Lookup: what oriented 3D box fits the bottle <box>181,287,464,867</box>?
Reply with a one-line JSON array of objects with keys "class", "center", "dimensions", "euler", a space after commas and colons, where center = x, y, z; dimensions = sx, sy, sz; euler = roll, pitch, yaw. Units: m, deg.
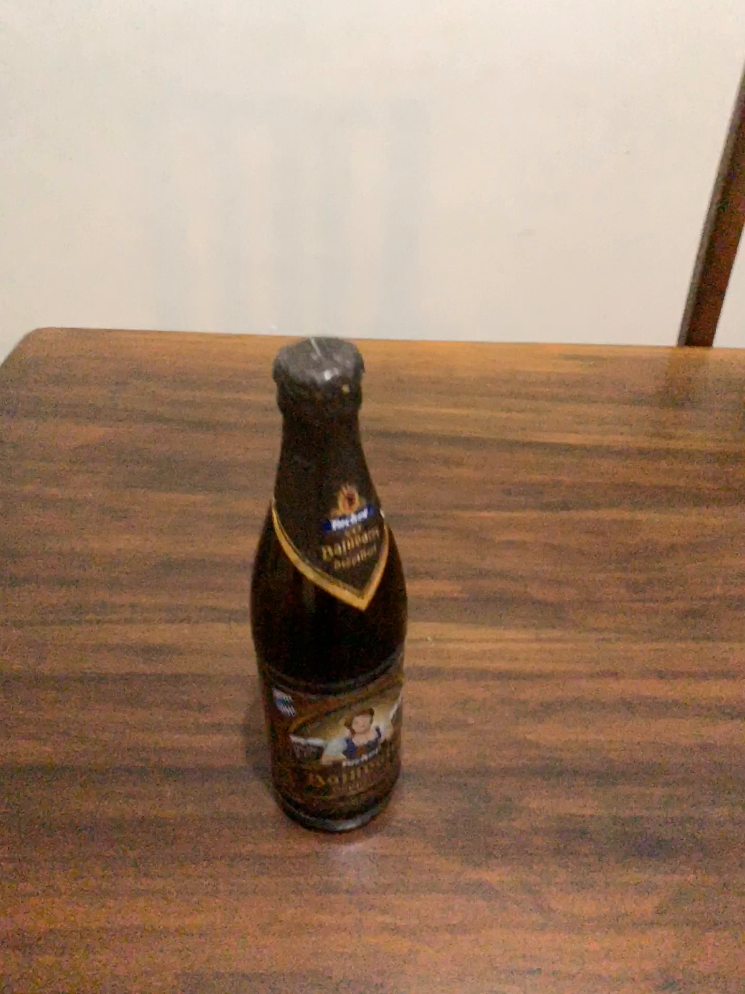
[{"class": "bottle", "center": [-0.017, 0.055, 0.330], "dimensions": [0.070, 0.268, 0.060], "euler": [-20, 44, -22]}]
